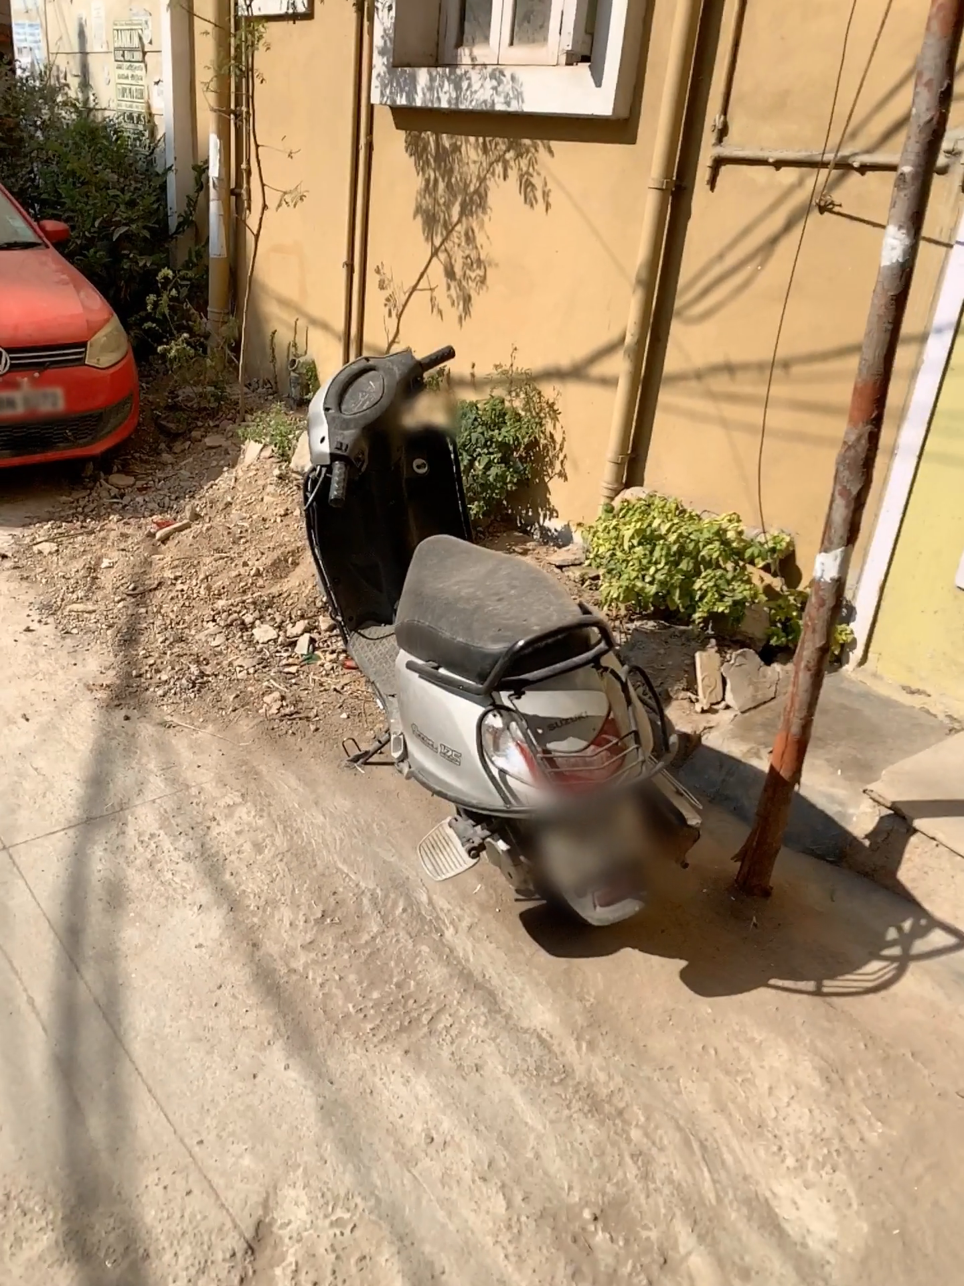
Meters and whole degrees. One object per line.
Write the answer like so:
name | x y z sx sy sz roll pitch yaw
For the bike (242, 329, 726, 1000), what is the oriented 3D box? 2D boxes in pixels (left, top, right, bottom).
bike | -0.166 -0.123 2.382 0.550 1.001 1.514 -6 27 -23
